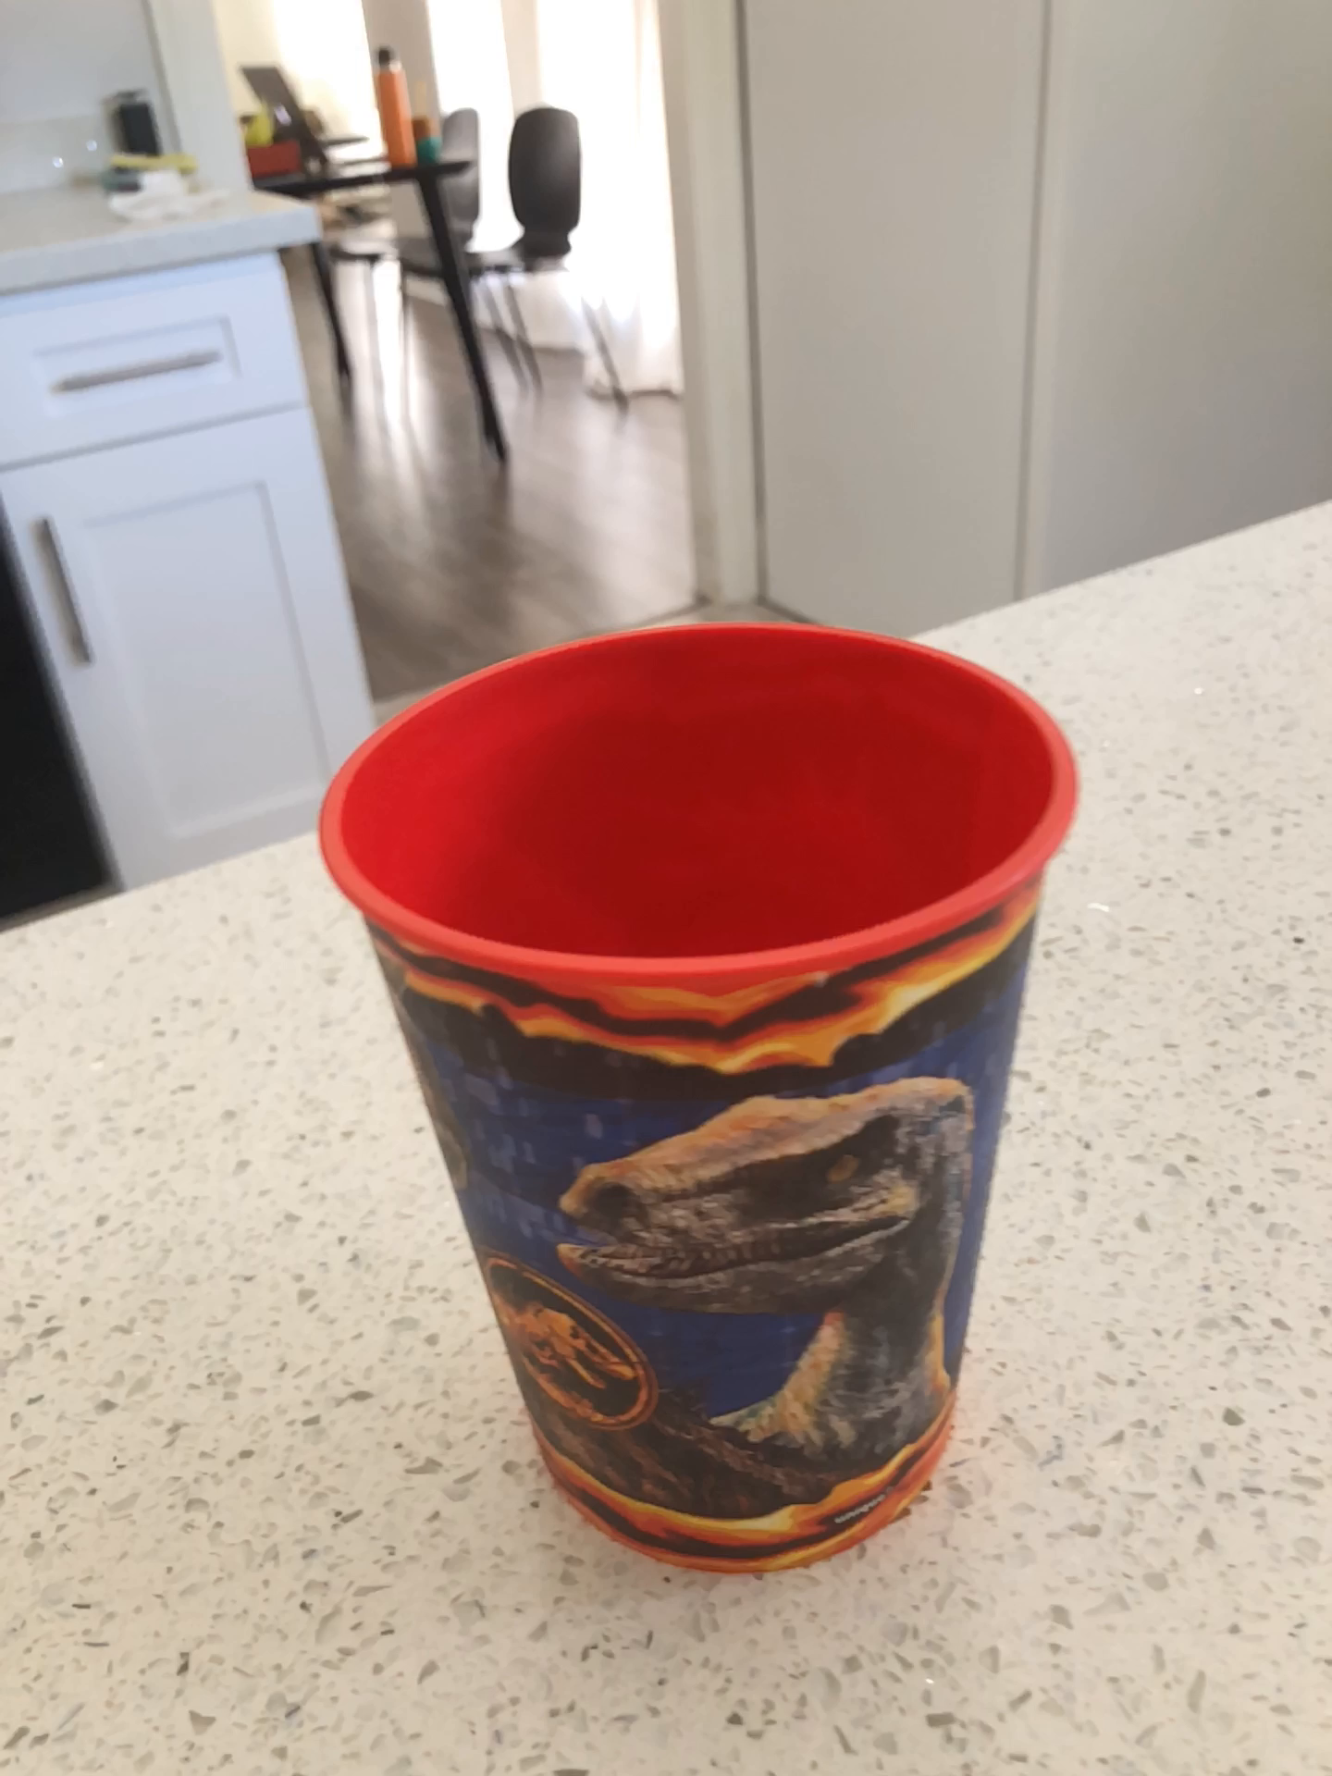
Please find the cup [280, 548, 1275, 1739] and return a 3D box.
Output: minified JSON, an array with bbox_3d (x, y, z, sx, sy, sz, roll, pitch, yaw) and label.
[{"bbox_3d":[0.009,0.027,0.205,0.090,0.110,0.090,-4,30,2],"label":"cup"}]
